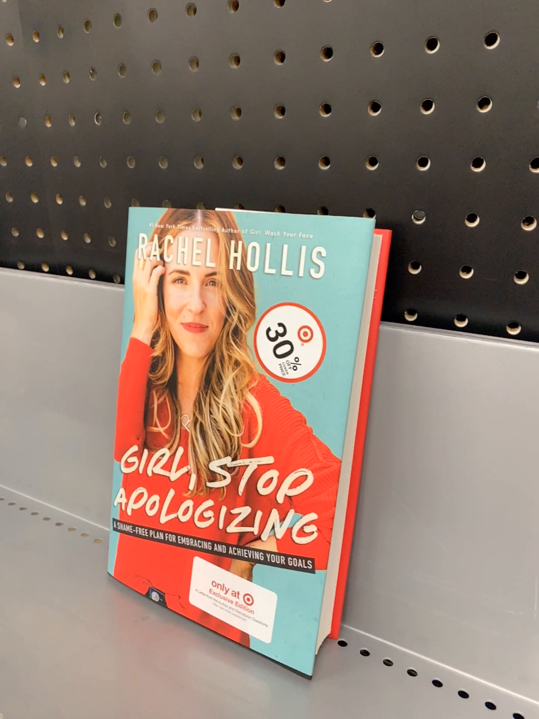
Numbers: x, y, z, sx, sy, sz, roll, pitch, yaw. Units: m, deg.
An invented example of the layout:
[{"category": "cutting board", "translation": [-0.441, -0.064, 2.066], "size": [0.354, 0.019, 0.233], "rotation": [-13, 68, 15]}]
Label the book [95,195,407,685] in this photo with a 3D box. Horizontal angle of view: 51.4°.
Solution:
[{"category": "book", "translation": [-0.021, 0.030, 0.299], "size": [0.149, 0.220, 0.035], "rotation": [12, 11, 30]}]
